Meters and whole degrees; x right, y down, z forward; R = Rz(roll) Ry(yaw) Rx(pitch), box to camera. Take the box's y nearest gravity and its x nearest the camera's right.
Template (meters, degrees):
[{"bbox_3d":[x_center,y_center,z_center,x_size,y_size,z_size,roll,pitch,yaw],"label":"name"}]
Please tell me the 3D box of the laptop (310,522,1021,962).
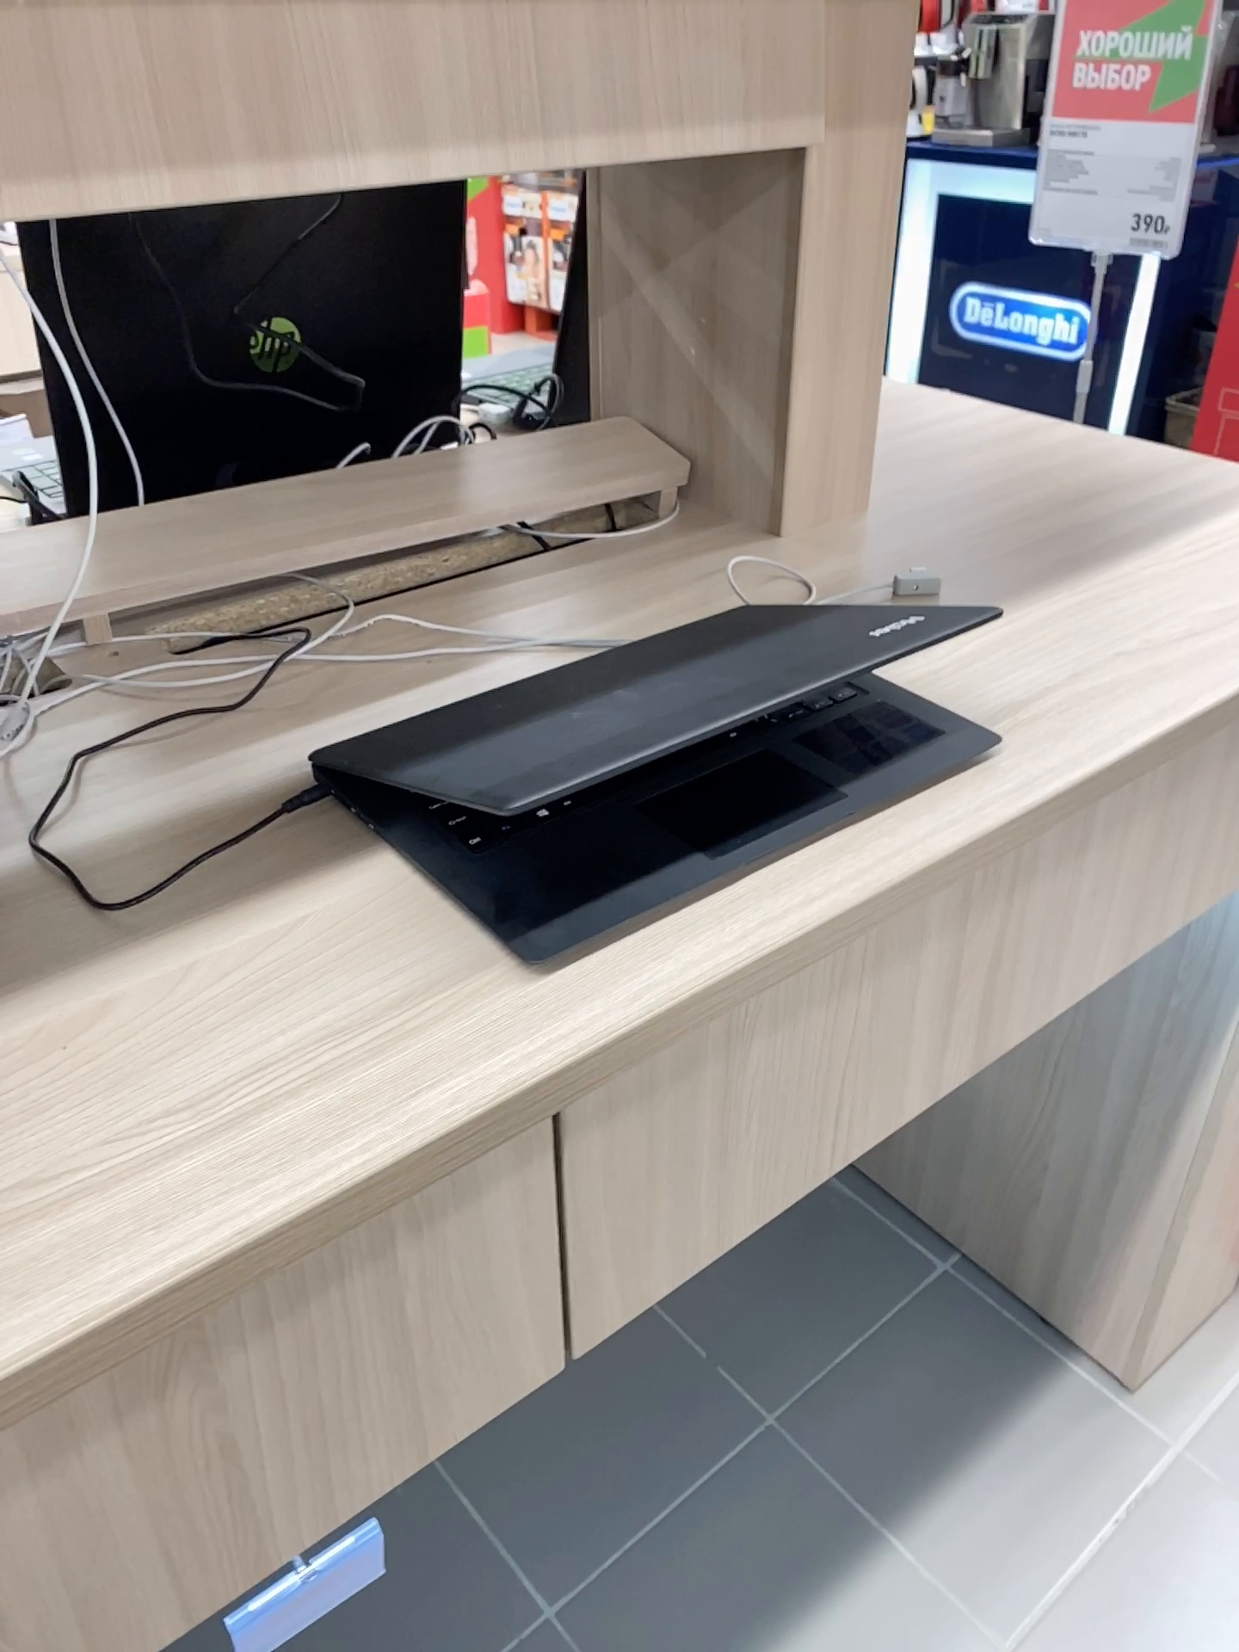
[{"bbox_3d":[0.029,-0.068,0.679,0.320,0.072,0.202,-23,39,-32],"label":"laptop"}]
